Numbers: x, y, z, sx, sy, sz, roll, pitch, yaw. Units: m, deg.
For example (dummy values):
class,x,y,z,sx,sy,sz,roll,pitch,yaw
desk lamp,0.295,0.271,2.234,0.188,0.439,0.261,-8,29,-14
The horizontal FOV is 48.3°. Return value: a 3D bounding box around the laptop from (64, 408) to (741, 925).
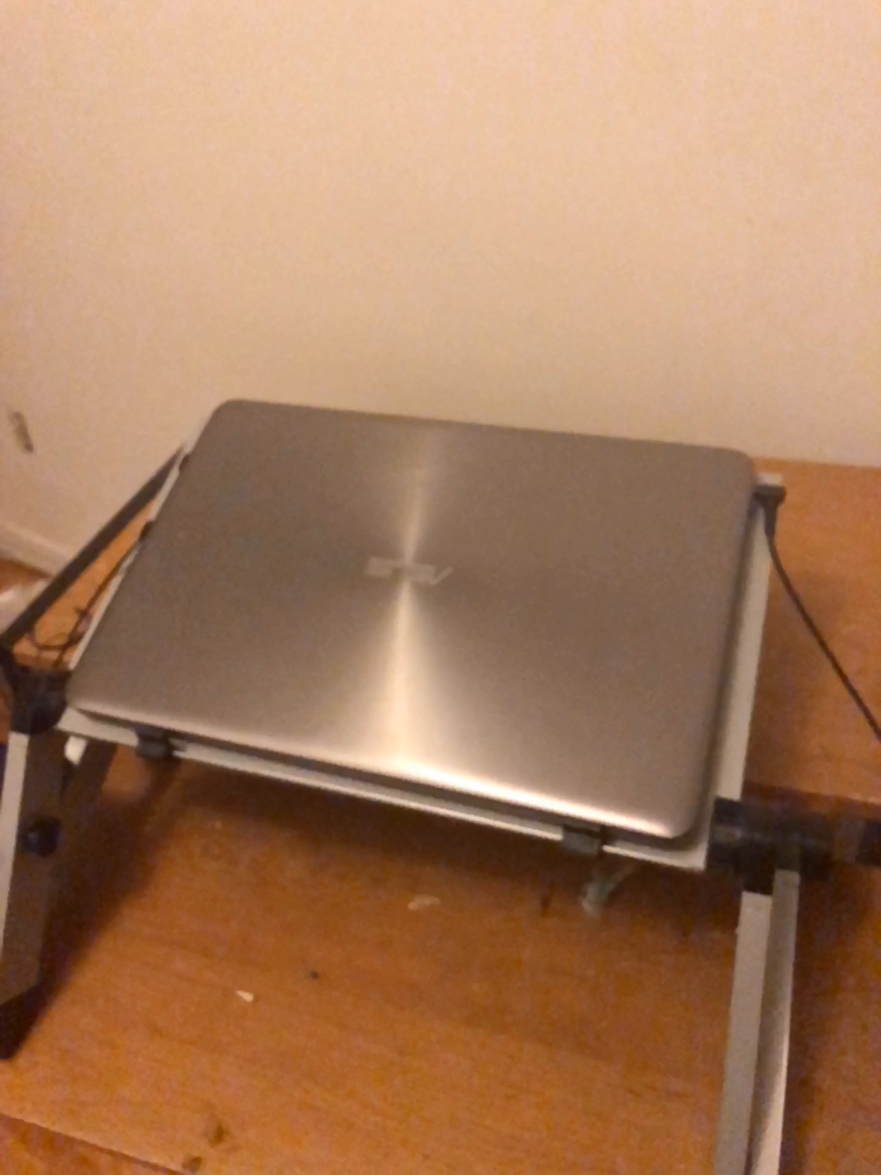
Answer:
class,x,y,z,sx,sy,sz,roll,pitch,yaw
laptop,-0.019,0.023,0.620,0.362,0.071,0.250,8,55,19
